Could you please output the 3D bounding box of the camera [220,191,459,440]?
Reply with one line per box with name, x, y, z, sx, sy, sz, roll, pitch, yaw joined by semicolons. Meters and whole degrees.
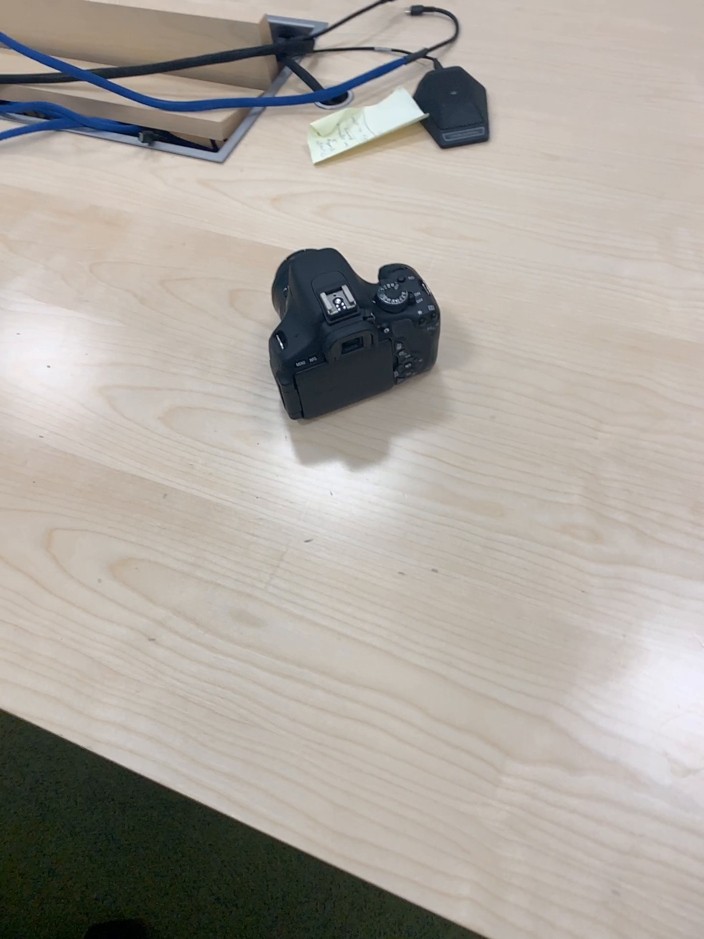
camera;-0.009;-0.122;0.572;0.140;0.100;0.123;-21;59;-8
